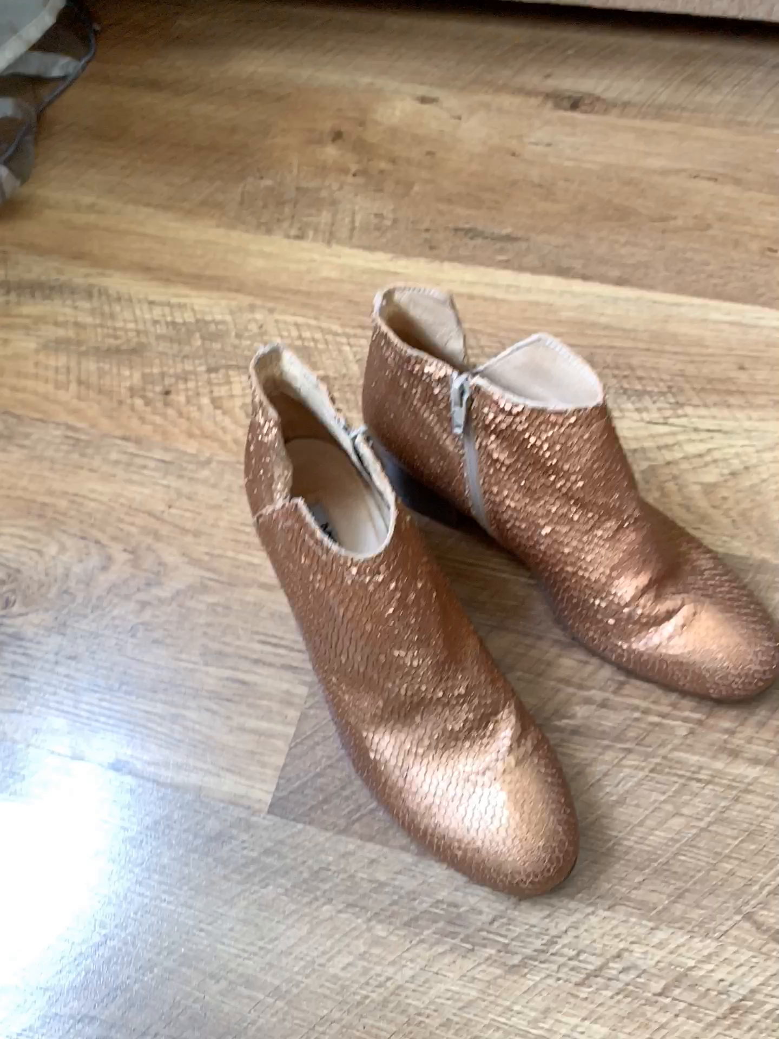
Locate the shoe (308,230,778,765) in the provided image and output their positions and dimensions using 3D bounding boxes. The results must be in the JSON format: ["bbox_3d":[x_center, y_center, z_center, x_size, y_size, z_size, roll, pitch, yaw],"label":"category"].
[{"bbox_3d":[0.083,-0.010,0.352,0.220,0.130,0.080,32,66,21],"label":"shoe"}]

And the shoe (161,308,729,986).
[{"bbox_3d":[0.006,0.047,0.317,0.080,0.130,0.221,-27,61,-13],"label":"shoe"}]
